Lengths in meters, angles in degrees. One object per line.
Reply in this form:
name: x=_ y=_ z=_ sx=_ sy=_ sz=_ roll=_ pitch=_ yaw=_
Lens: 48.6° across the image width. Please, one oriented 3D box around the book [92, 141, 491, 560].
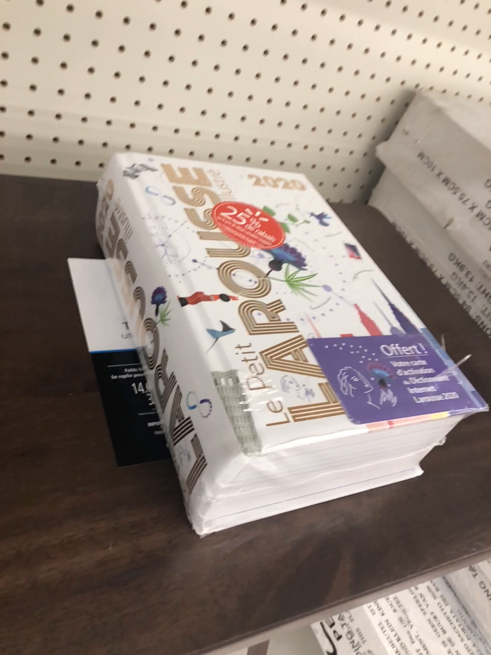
book: x=0.023 y=-0.011 z=0.325 sx=0.171 sy=0.069 sz=0.231 roll=-3 pitch=47 yaw=-30
